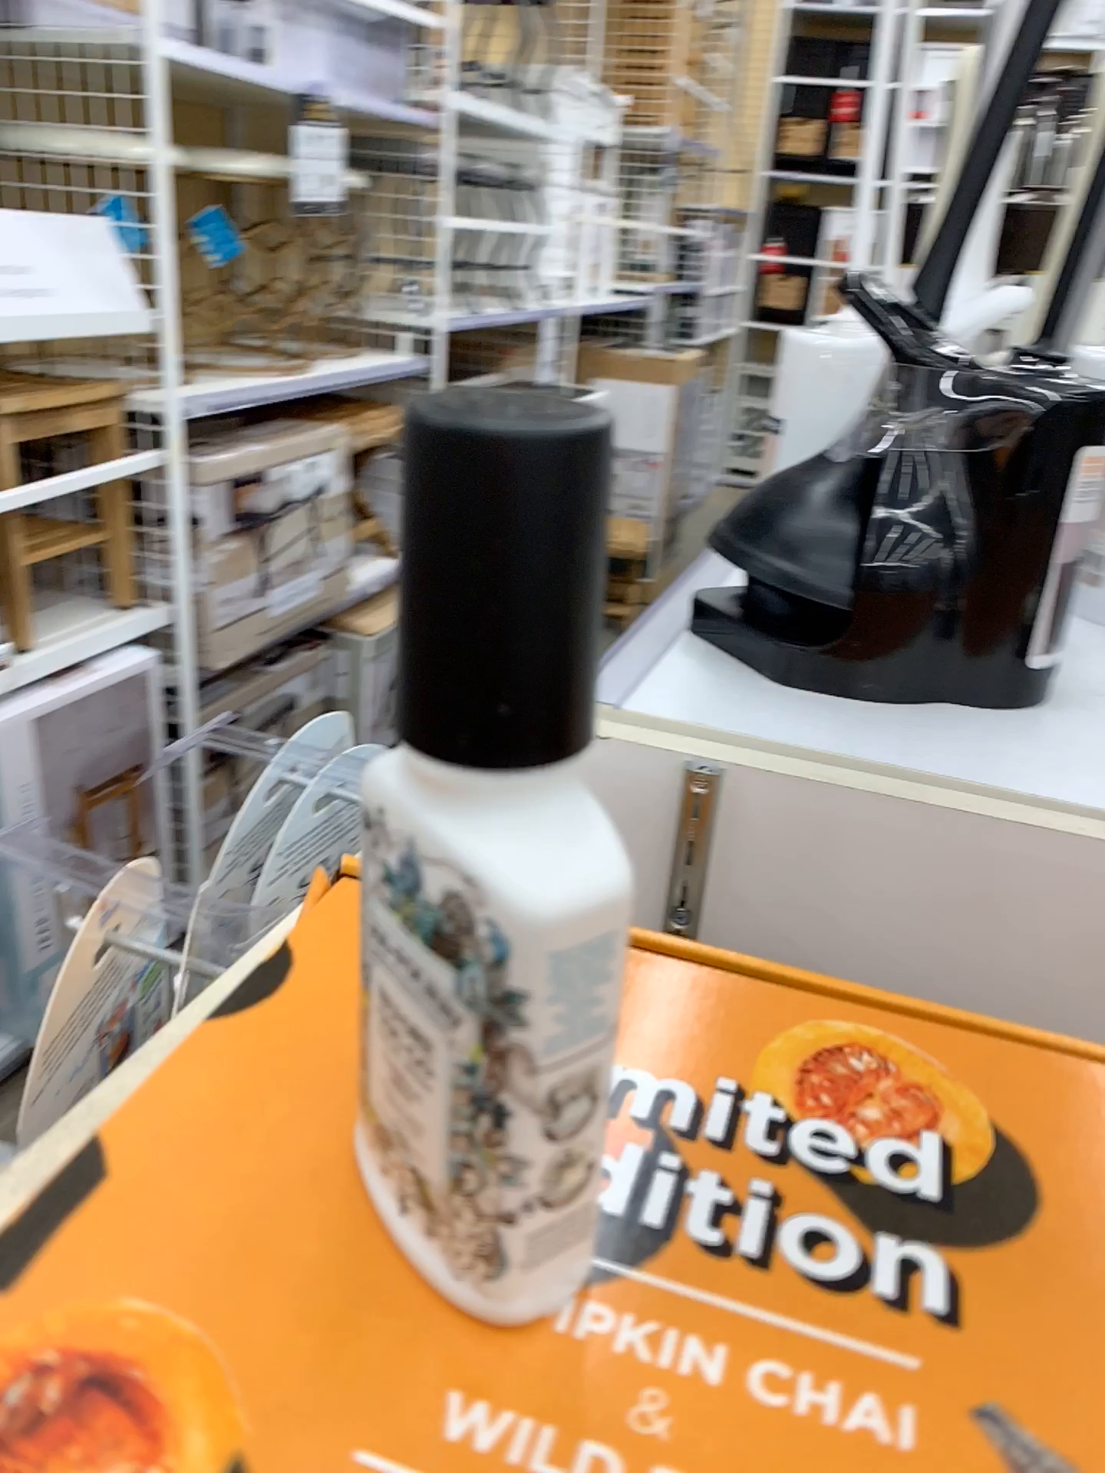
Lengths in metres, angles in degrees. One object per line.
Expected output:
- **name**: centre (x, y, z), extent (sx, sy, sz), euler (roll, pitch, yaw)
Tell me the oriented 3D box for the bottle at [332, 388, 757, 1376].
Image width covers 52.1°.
- **bottle**: centre (-0.009, 0.025, 0.188), extent (0.033, 0.151, 0.055), euler (-13, 30, -35)
